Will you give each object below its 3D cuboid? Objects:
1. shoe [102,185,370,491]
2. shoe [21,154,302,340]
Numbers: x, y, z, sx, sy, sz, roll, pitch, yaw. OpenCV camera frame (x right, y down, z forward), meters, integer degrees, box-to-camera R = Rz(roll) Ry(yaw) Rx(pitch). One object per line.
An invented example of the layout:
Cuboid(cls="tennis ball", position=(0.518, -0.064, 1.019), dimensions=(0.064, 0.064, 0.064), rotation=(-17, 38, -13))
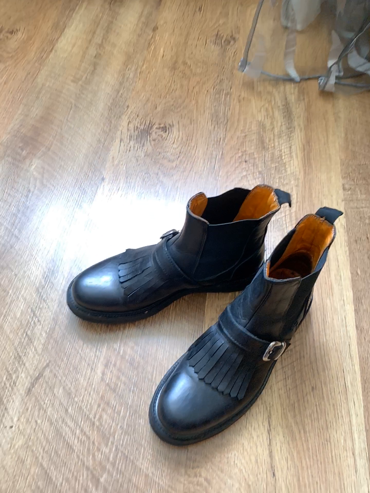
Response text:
Cuboid(cls="shoe", position=(0.064, 0.087, 0.376), dimensions=(0.100, 0.149, 0.260), rotation=(39, 66, 21))
Cuboid(cls="shoe", position=(-0.024, 0.006, 0.436), dimensions=(0.260, 0.151, 0.090), rotation=(-14, 60, -9))
